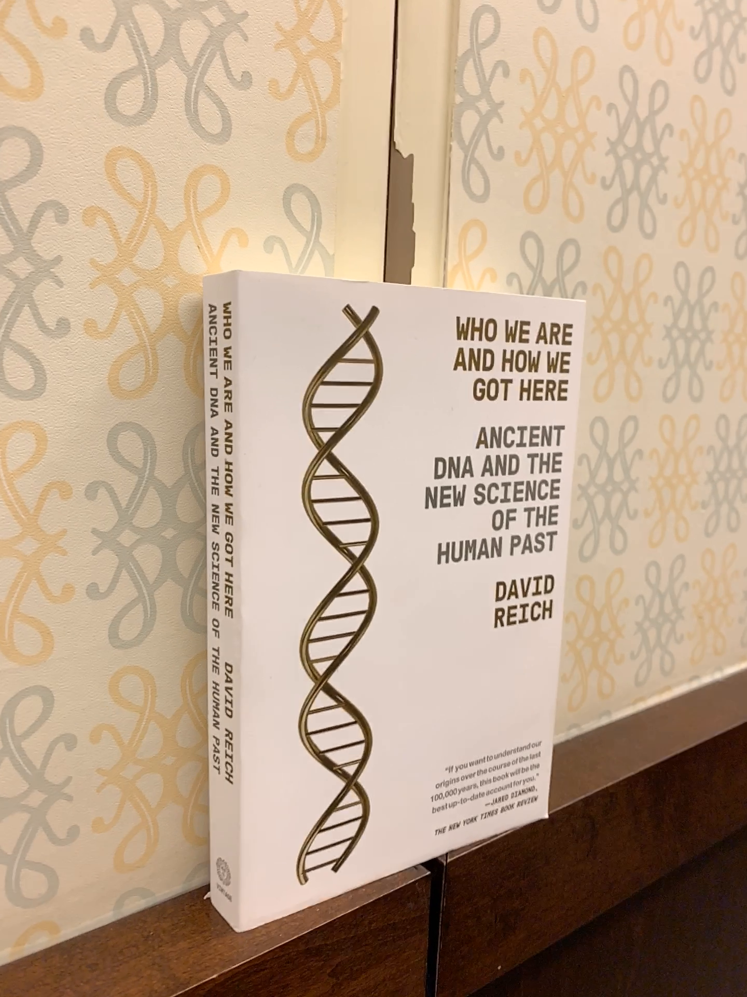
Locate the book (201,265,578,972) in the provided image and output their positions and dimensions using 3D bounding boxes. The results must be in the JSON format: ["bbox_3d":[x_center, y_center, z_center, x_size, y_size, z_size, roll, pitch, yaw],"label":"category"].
[{"bbox_3d":[0.009,0.031,0.268,0.127,0.199,0.041,-5,10,-39],"label":"book"}]
